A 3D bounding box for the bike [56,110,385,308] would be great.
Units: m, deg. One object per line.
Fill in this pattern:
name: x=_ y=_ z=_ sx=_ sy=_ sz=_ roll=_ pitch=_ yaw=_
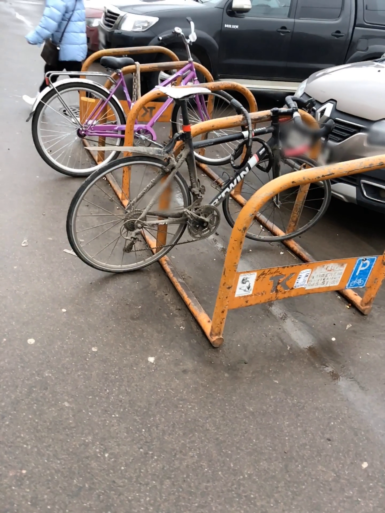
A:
bike: x=0.122 y=-0.314 z=2.196 sx=1.517 sy=0.761 sz=0.492 roll=-8 pitch=35 yaw=-23
